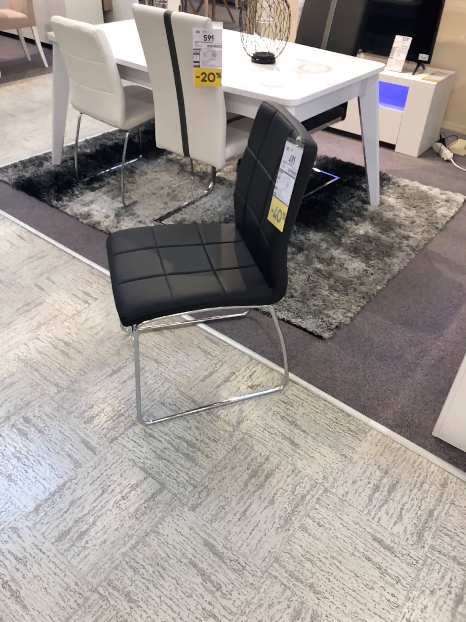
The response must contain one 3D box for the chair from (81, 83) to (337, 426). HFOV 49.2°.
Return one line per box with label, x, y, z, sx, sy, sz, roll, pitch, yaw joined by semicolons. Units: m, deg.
chair;-0.104;-0.176;1.556;0.537;0.824;0.522;-10;39;-15
